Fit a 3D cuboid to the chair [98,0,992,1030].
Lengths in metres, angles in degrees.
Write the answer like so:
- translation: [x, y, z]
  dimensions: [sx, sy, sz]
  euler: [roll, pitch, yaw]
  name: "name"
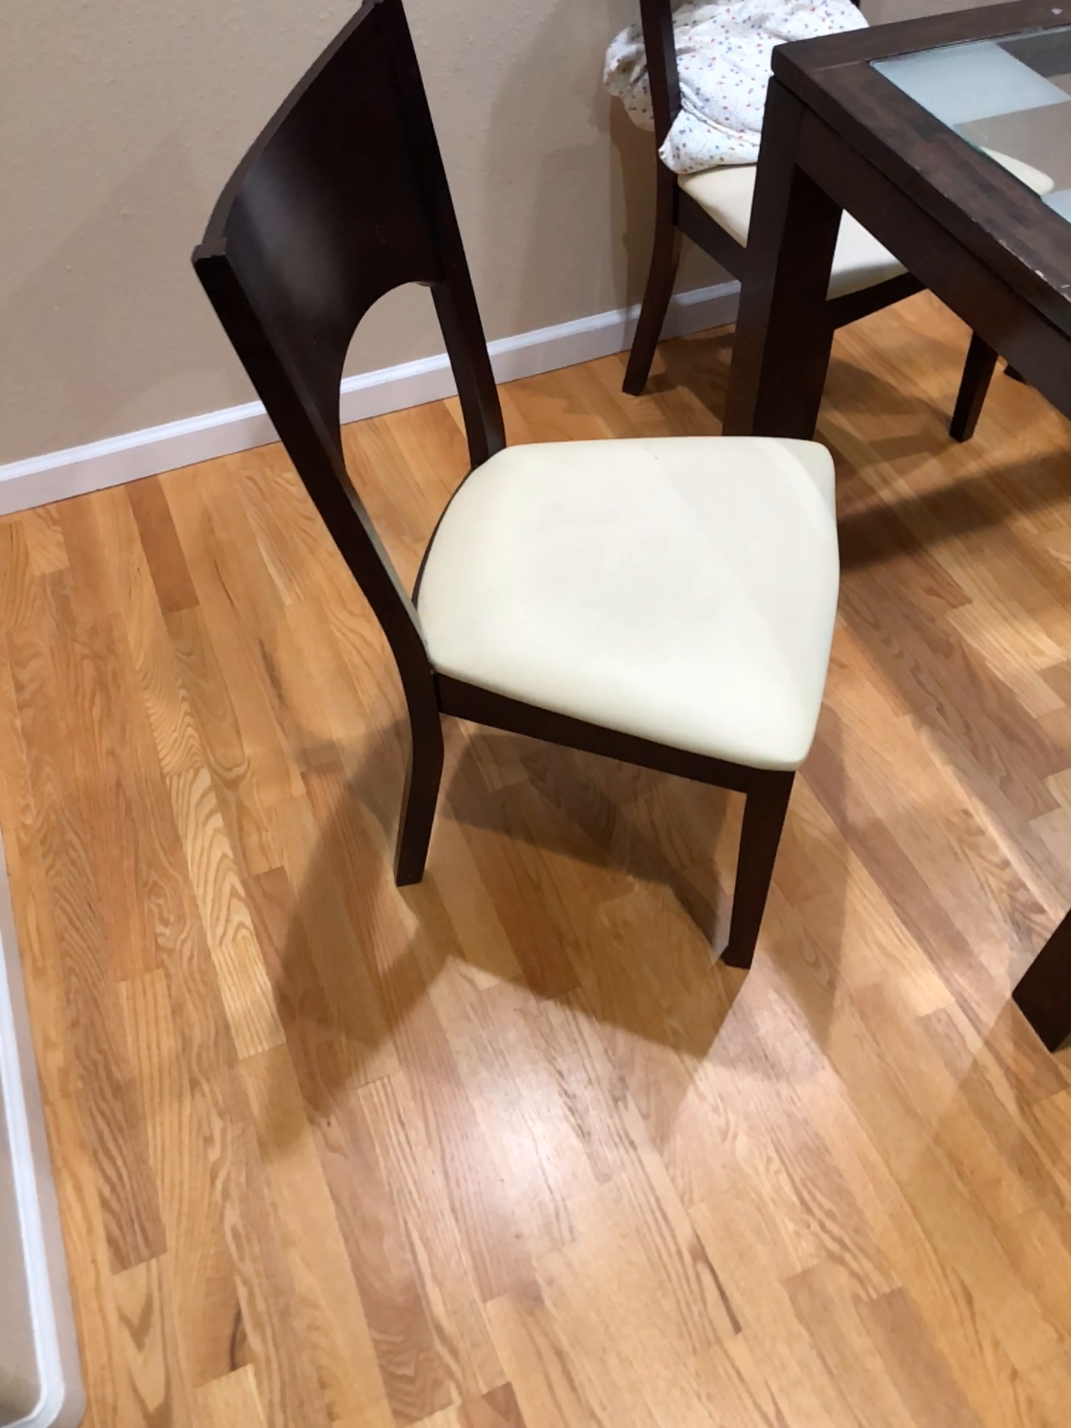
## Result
- translation: [0.059, -0.166, 1.189]
  dimensions: [0.530, 0.906, 0.522]
  euler: [10, 52, 10]
  name: "chair"
